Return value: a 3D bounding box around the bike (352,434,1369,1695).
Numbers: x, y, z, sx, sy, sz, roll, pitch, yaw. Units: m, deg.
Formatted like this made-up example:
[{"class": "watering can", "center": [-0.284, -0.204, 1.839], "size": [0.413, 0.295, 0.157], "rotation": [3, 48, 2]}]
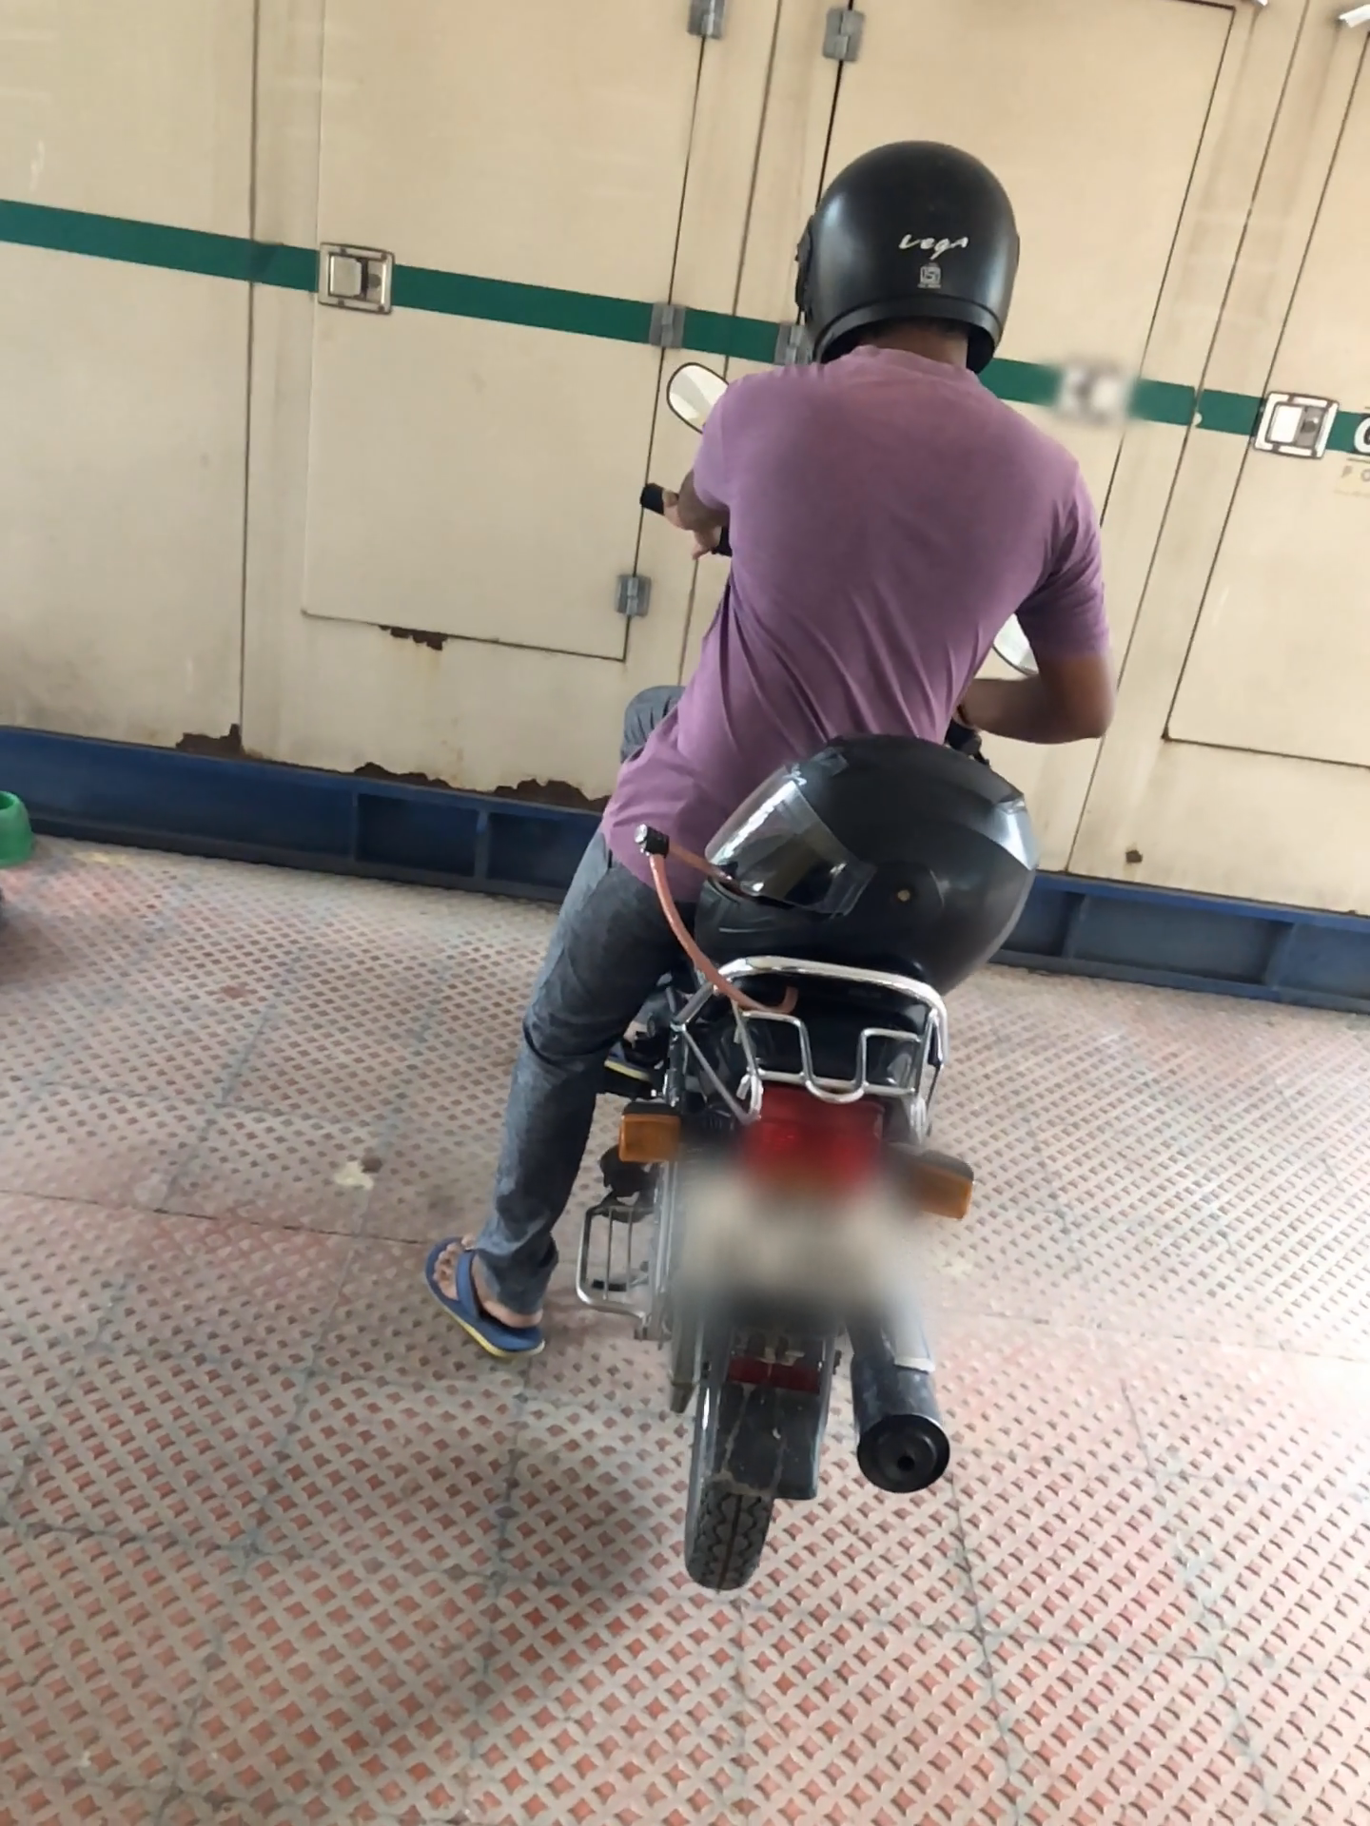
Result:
[{"class": "bike", "center": [0.280, 0.004, 2.109], "size": [0.814, 0.927, 1.603], "rotation": [12, 28, 5]}]
